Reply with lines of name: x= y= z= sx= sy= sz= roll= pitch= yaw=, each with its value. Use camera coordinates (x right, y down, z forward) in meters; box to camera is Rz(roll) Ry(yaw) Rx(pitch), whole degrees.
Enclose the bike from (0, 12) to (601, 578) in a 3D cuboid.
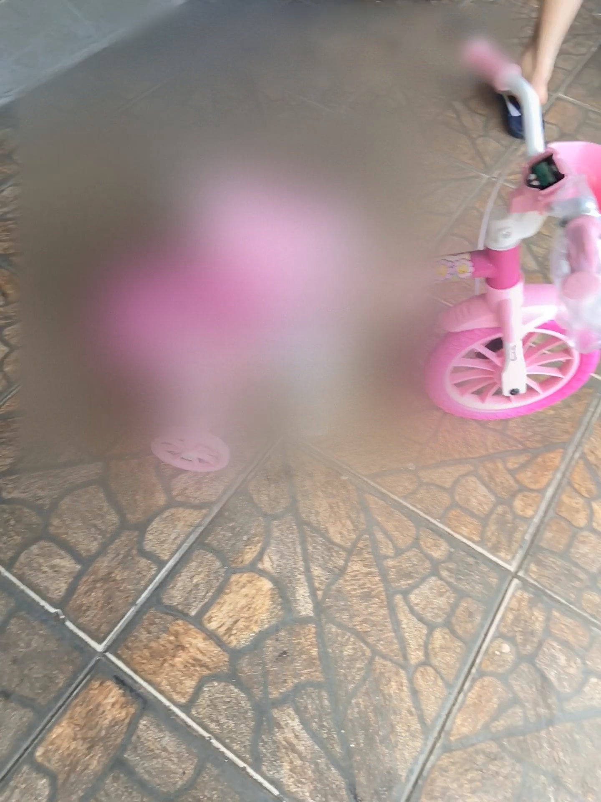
bike: x=0.068 y=-0.128 z=0.918 sx=0.791 sy=0.563 sz=0.513 roll=5 pitch=55 yaw=2
